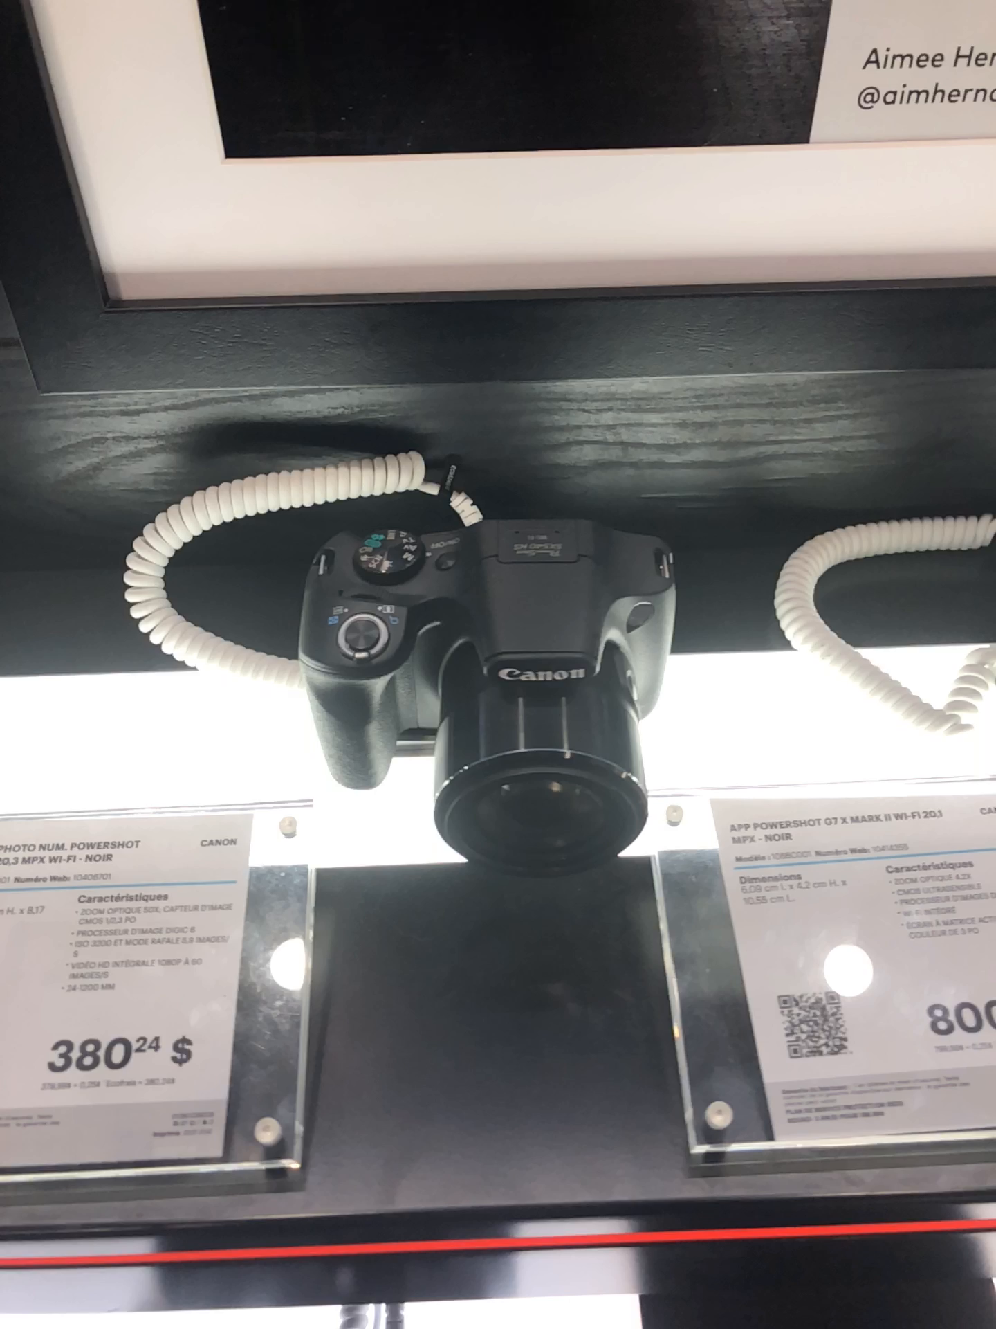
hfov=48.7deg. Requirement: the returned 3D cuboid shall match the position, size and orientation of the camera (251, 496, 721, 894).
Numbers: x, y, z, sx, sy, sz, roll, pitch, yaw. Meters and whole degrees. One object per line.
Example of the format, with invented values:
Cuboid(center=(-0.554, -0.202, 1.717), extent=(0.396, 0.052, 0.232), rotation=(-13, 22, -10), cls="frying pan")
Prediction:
Cuboid(center=(-0.004, 0.011, 0.345), extent=(0.122, 0.099, 0.071), rotation=(-2, 42, -1), cls="camera")
